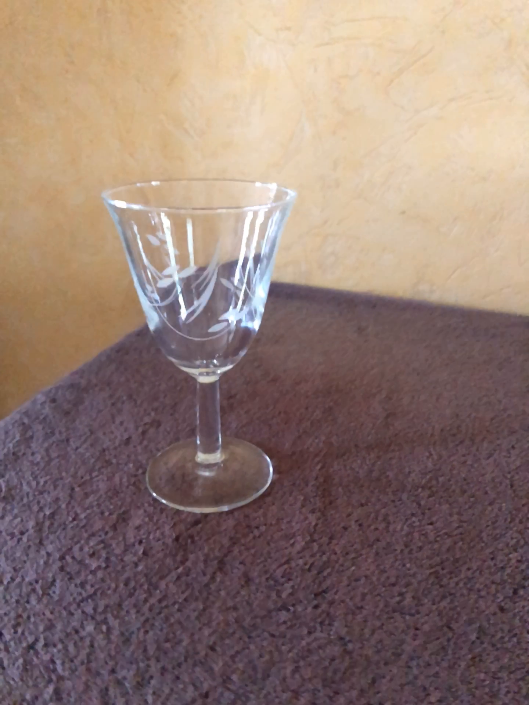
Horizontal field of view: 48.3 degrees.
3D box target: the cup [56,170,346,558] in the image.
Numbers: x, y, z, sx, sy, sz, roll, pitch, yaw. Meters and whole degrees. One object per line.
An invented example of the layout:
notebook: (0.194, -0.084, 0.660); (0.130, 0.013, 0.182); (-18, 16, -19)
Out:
cup: (-0.027, -0.004, 0.288); (0.090, 0.149, 0.090); (0, 23, 0)
